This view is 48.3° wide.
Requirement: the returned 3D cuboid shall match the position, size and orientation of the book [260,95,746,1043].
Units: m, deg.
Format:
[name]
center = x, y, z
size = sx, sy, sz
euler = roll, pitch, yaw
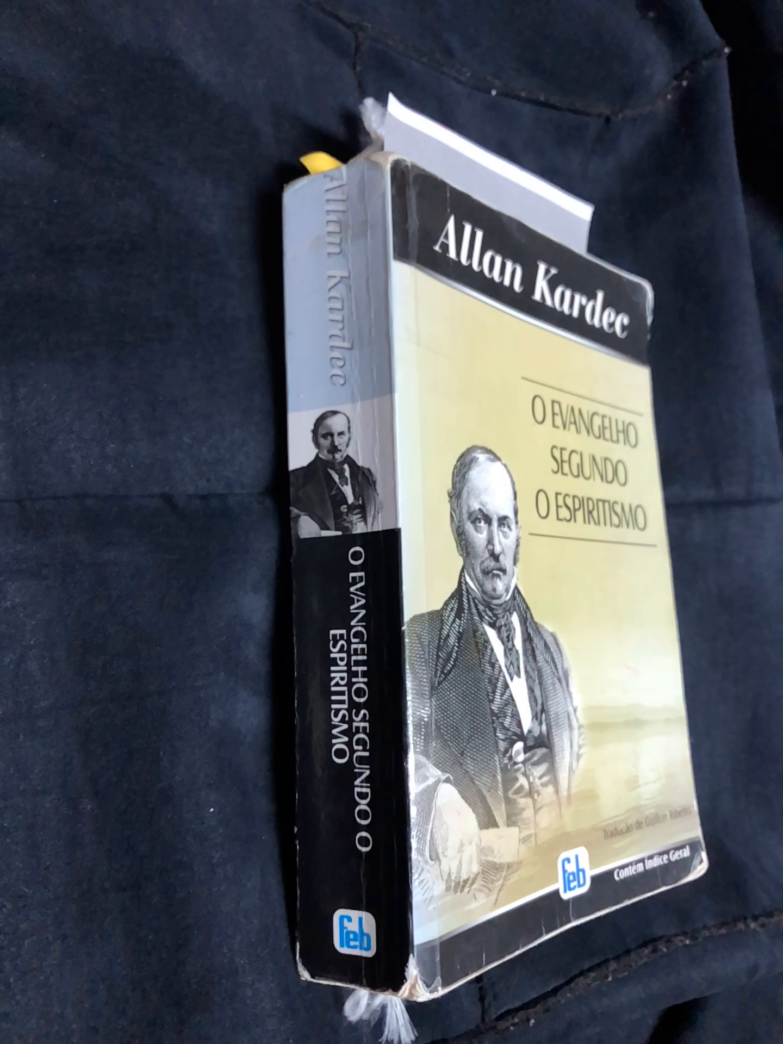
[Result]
[book]
center = 0.039, 0.011, 0.270
size = 0.151, 0.050, 0.220
euler = 5, 79, -43
